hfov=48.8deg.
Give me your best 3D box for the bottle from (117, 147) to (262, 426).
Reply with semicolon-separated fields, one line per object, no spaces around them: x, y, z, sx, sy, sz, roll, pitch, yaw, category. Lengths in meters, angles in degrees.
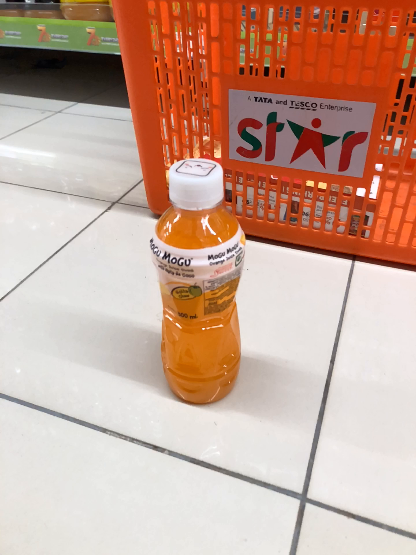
-0.009;0.010;0.288;0.050;0.159;0.060;-26;43;-31;bottle
